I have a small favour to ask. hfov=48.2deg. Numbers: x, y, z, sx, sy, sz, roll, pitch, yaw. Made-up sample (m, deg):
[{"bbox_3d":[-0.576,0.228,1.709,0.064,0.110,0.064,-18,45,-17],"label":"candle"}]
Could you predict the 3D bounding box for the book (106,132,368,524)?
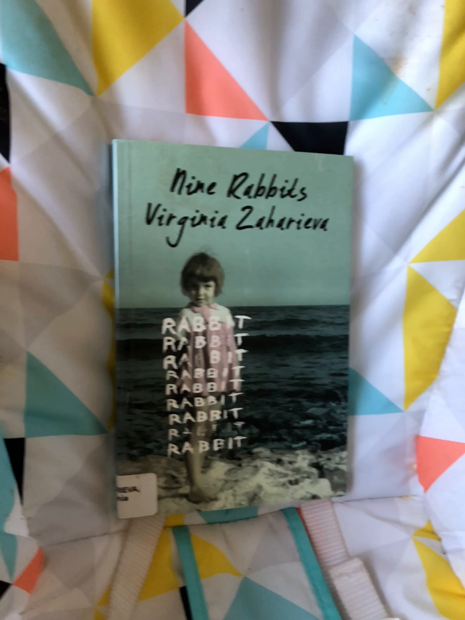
[{"bbox_3d":[0.005,0.010,0.297,0.145,0.025,0.200,-1,94,-17],"label":"book"}]
